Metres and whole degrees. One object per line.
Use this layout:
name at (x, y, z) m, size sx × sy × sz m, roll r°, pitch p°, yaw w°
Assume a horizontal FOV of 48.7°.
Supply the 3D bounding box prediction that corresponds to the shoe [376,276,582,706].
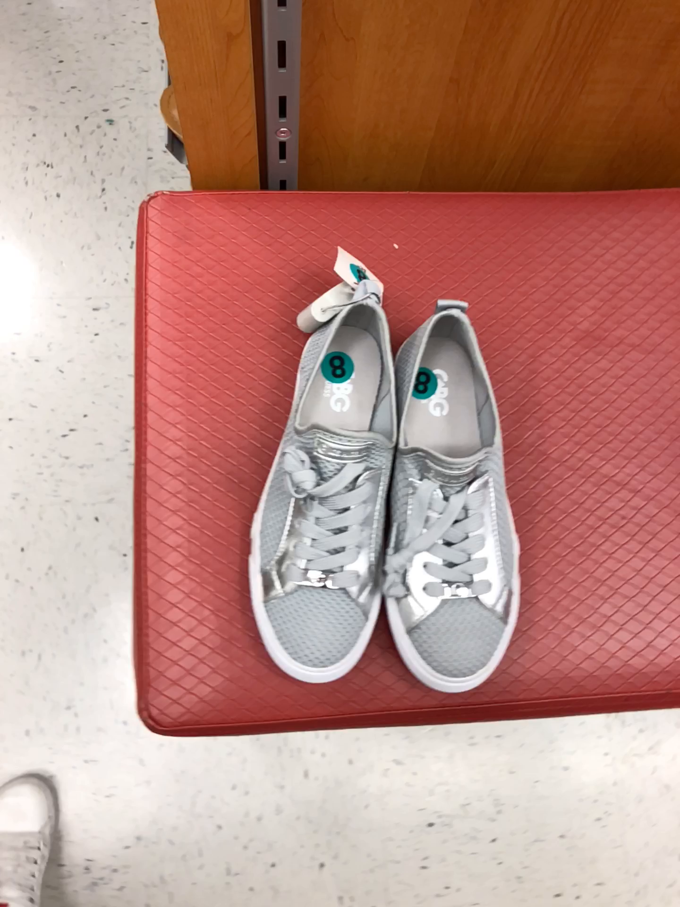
shoe at (0.084, 0.026, 0.508) m, size 0.106 × 0.096 × 0.268 m, roll 1°, pitch 76°, yaw -4°

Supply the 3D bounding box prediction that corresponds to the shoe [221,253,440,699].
shoe at (-0.004, 0.016, 0.505) m, size 0.106 × 0.097 × 0.268 m, roll 7°, pitch 75°, yaw -2°
